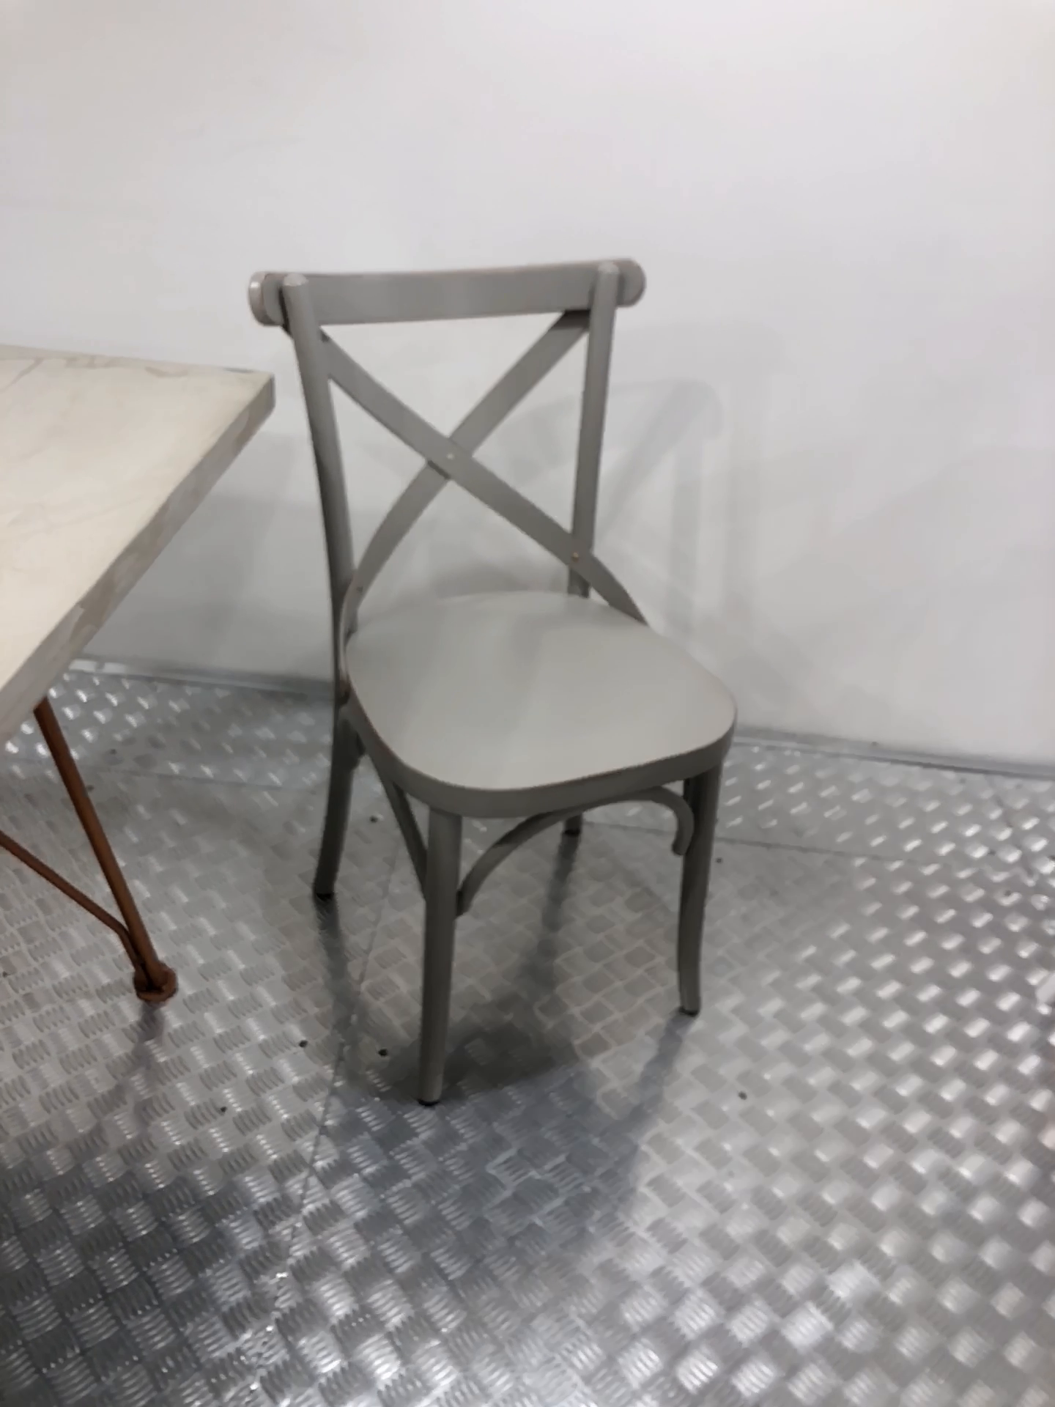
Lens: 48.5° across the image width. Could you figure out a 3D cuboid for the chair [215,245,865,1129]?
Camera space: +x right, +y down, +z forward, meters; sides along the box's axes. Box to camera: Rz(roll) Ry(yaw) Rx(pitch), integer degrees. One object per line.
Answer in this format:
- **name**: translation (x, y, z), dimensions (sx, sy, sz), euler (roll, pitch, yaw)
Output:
- **chair**: translation (-0.041, -0.042, 1.466), dimensions (0.511, 0.893, 0.503), euler (-12, 36, -25)
